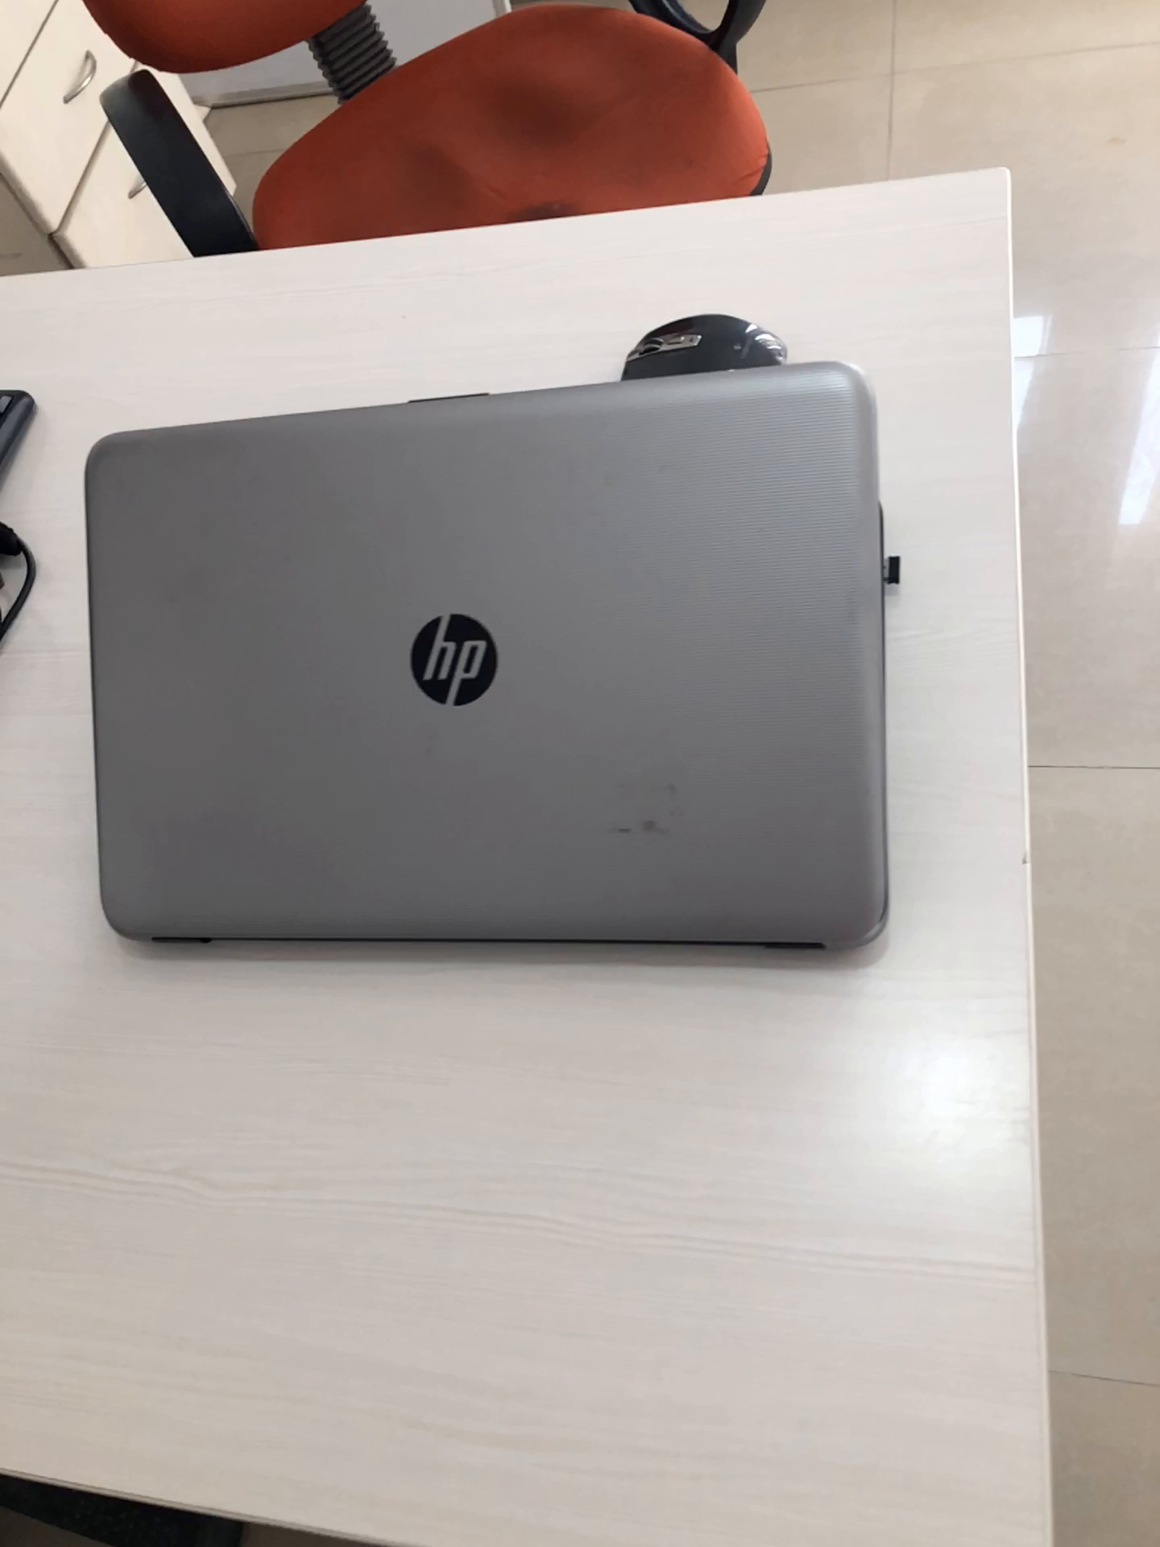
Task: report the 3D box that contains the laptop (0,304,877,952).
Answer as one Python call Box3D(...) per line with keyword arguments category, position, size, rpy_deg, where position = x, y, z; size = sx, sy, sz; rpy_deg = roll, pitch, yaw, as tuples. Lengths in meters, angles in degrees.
Box3D(category="laptop", position=(-0.055, -0.059, 0.597), size=(0.369, 0.120, 0.252), rpy_deg=(-2, 63, 15))
